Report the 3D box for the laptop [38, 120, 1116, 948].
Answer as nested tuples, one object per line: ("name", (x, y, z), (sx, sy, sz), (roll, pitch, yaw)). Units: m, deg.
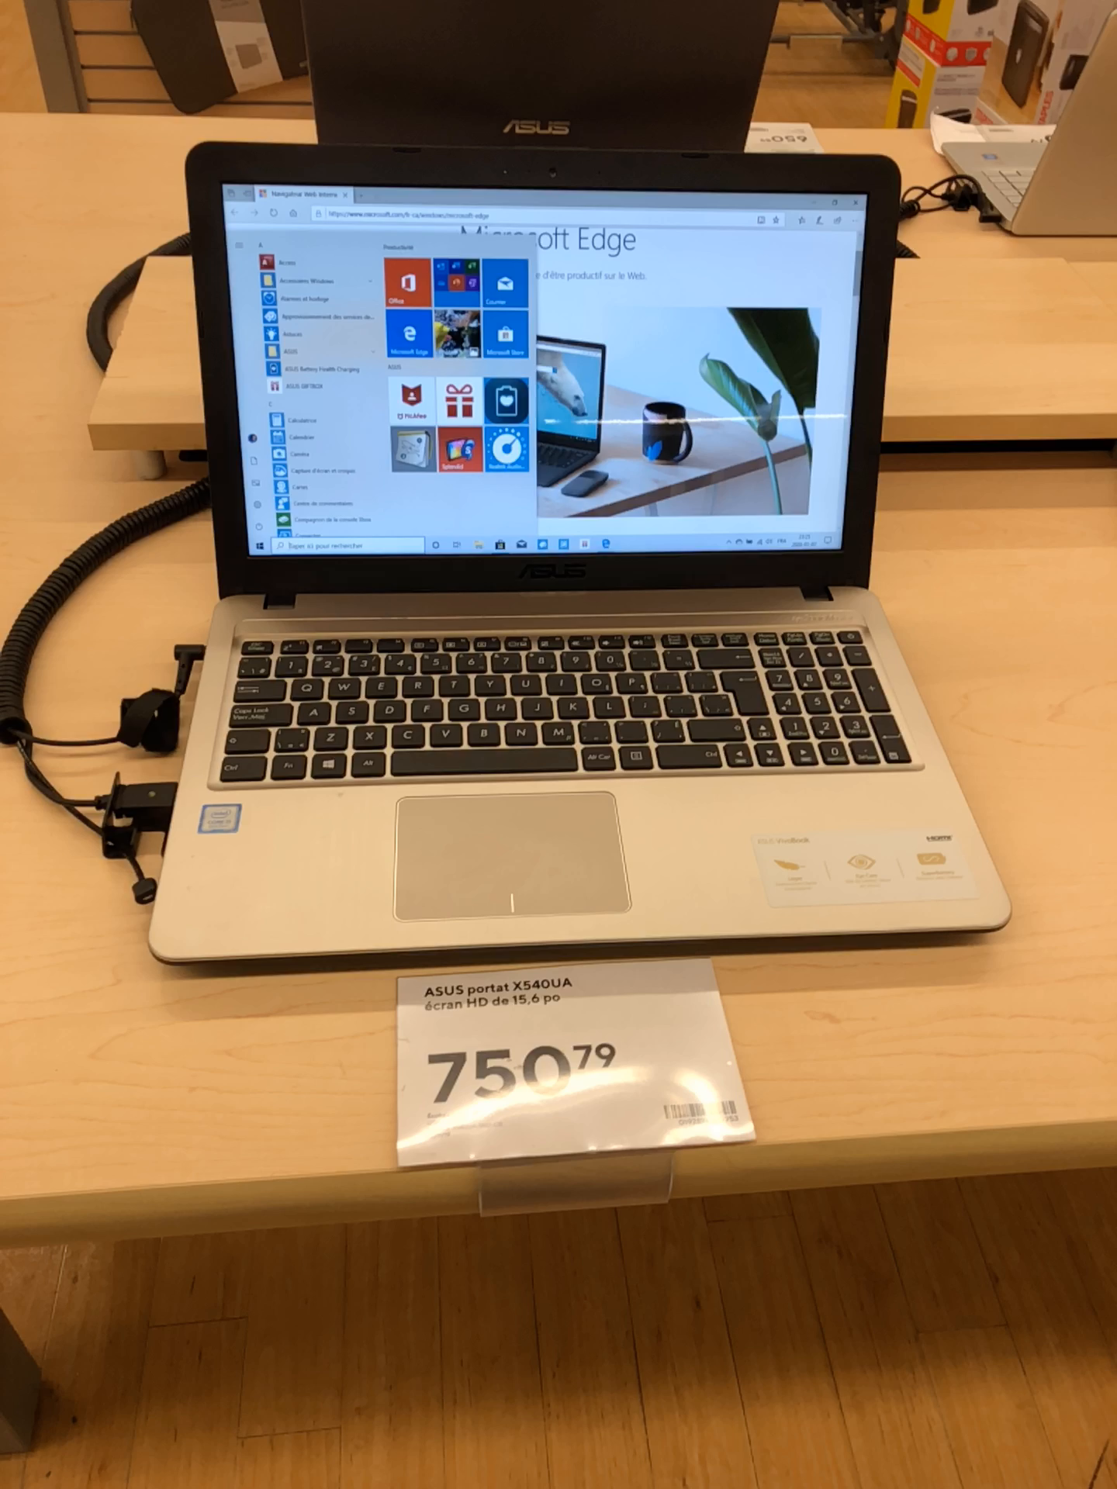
("laptop", (0.001, -0.123, 0.613), (0.383, 0.215, 0.361), (-2, 46, -6))
